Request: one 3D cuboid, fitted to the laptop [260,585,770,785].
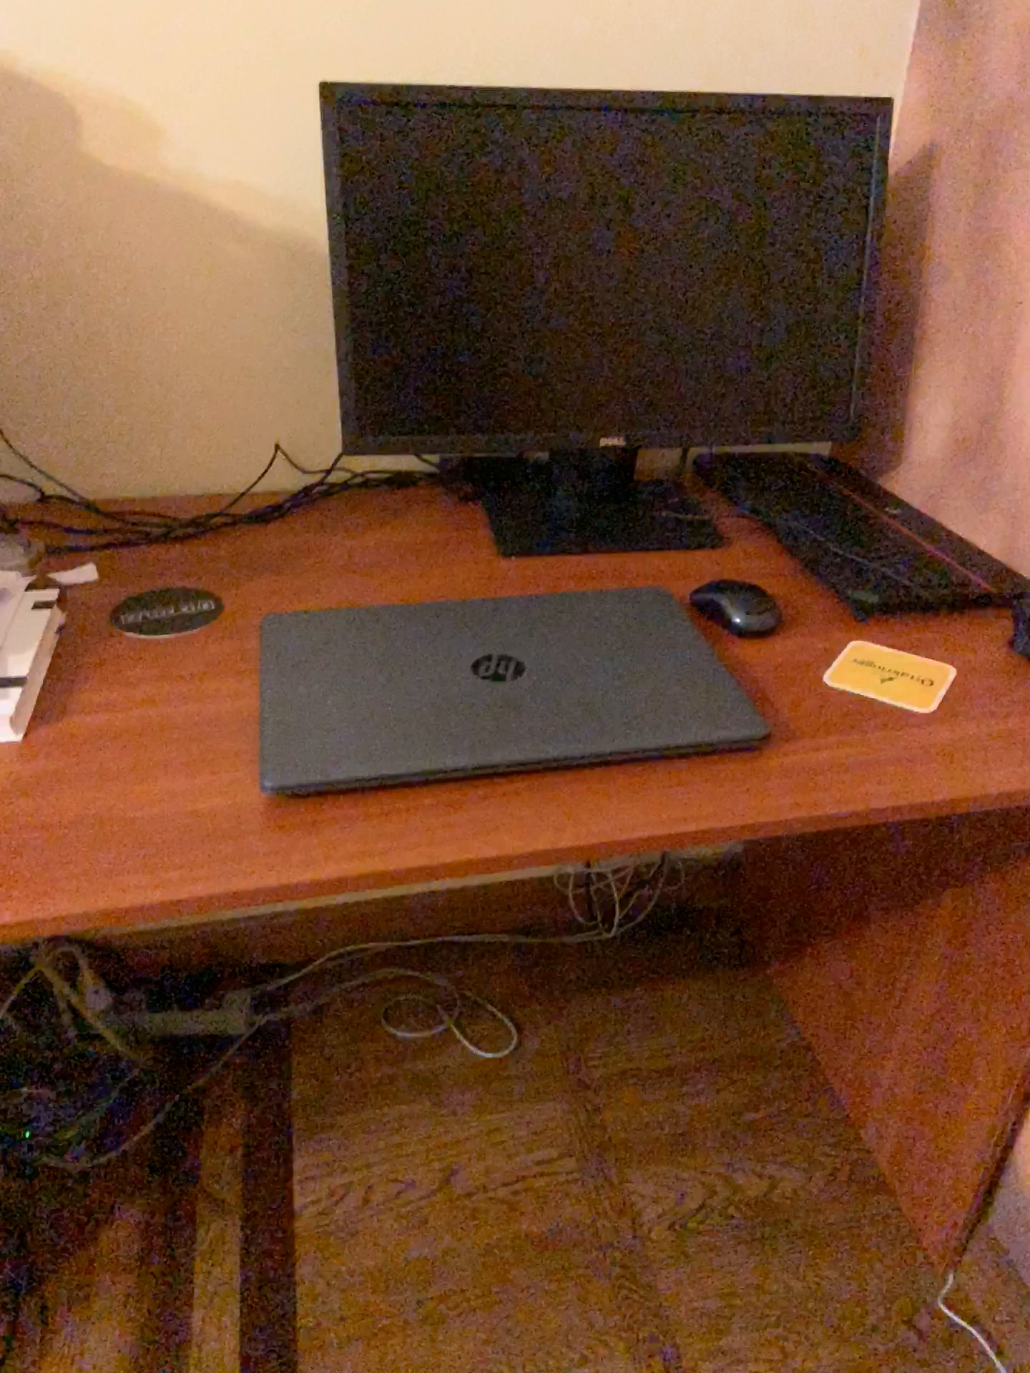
[{"bbox_3d":[-0.017,-0.014,0.849,0.368,0.005,0.248,-5,32,-10],"label":"laptop"}]
